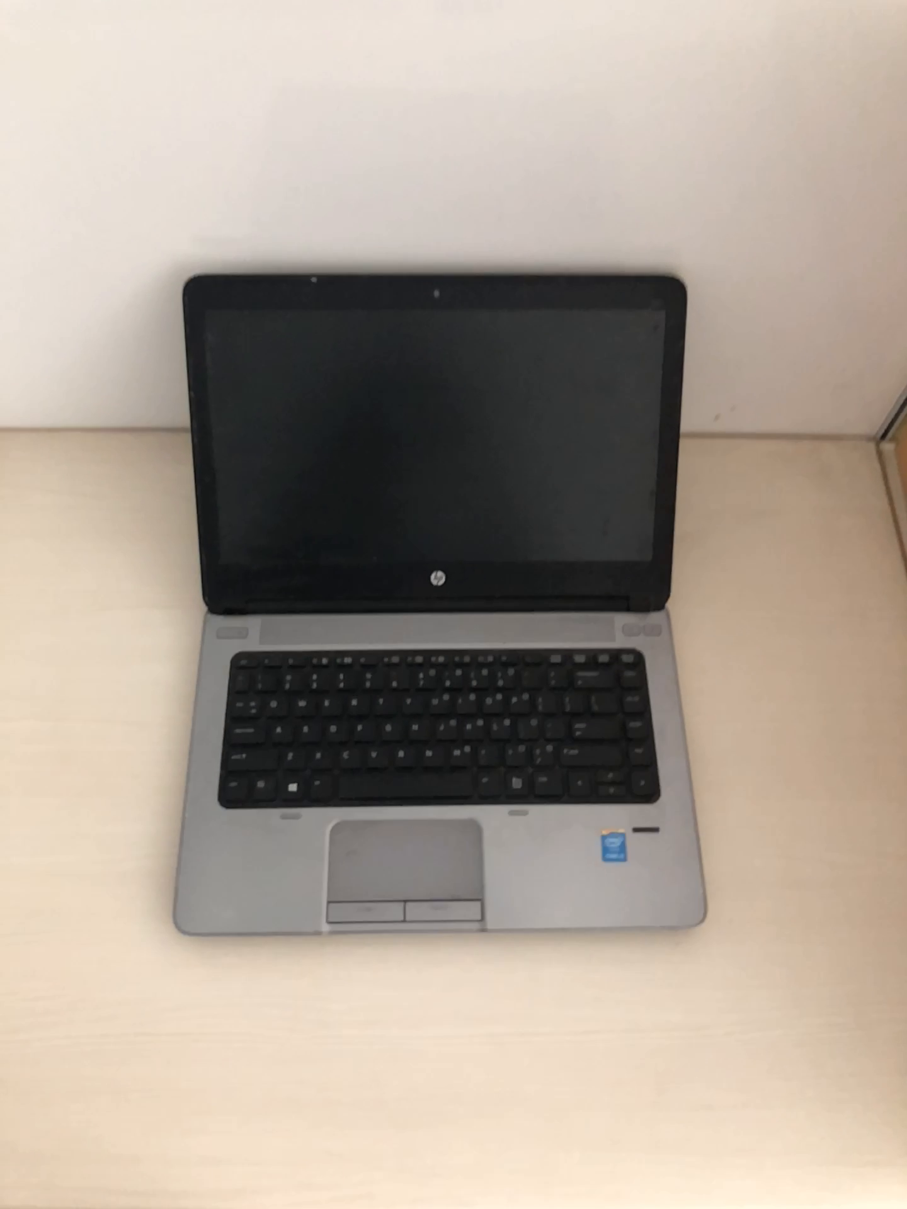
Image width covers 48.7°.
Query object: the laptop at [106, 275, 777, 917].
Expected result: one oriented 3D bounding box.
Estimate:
[{"bbox_3d":[-0.009,-0.013,0.633,0.322,0.148,0.379,0,63,-1],"label":"laptop"}]
